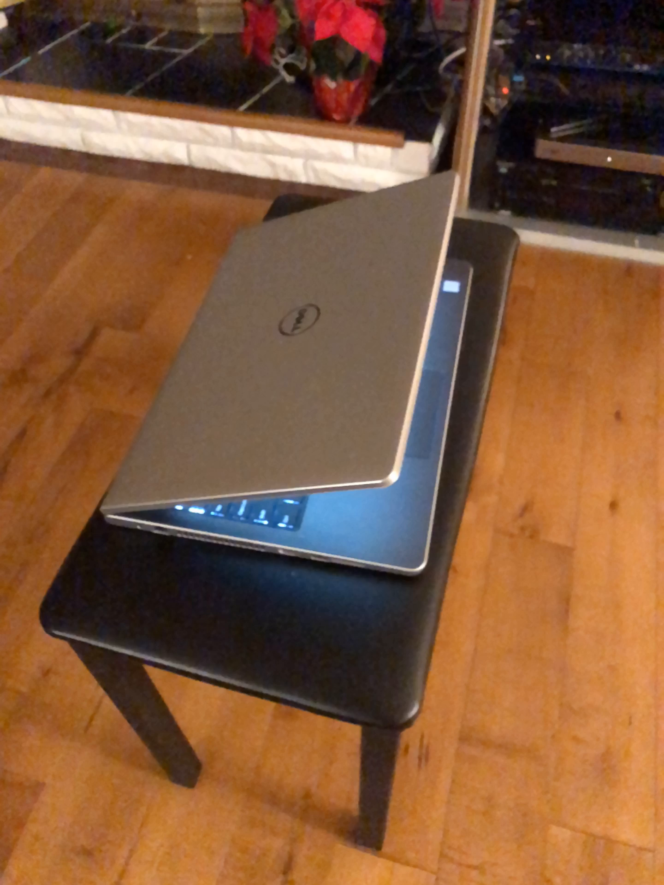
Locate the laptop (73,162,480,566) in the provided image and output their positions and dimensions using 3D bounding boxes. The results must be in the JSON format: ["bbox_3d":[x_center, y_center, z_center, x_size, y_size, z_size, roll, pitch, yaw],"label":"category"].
[{"bbox_3d":[-0.018,-0.095,0.647,0.247,0.107,0.367,8,51,10],"label":"laptop"}]
